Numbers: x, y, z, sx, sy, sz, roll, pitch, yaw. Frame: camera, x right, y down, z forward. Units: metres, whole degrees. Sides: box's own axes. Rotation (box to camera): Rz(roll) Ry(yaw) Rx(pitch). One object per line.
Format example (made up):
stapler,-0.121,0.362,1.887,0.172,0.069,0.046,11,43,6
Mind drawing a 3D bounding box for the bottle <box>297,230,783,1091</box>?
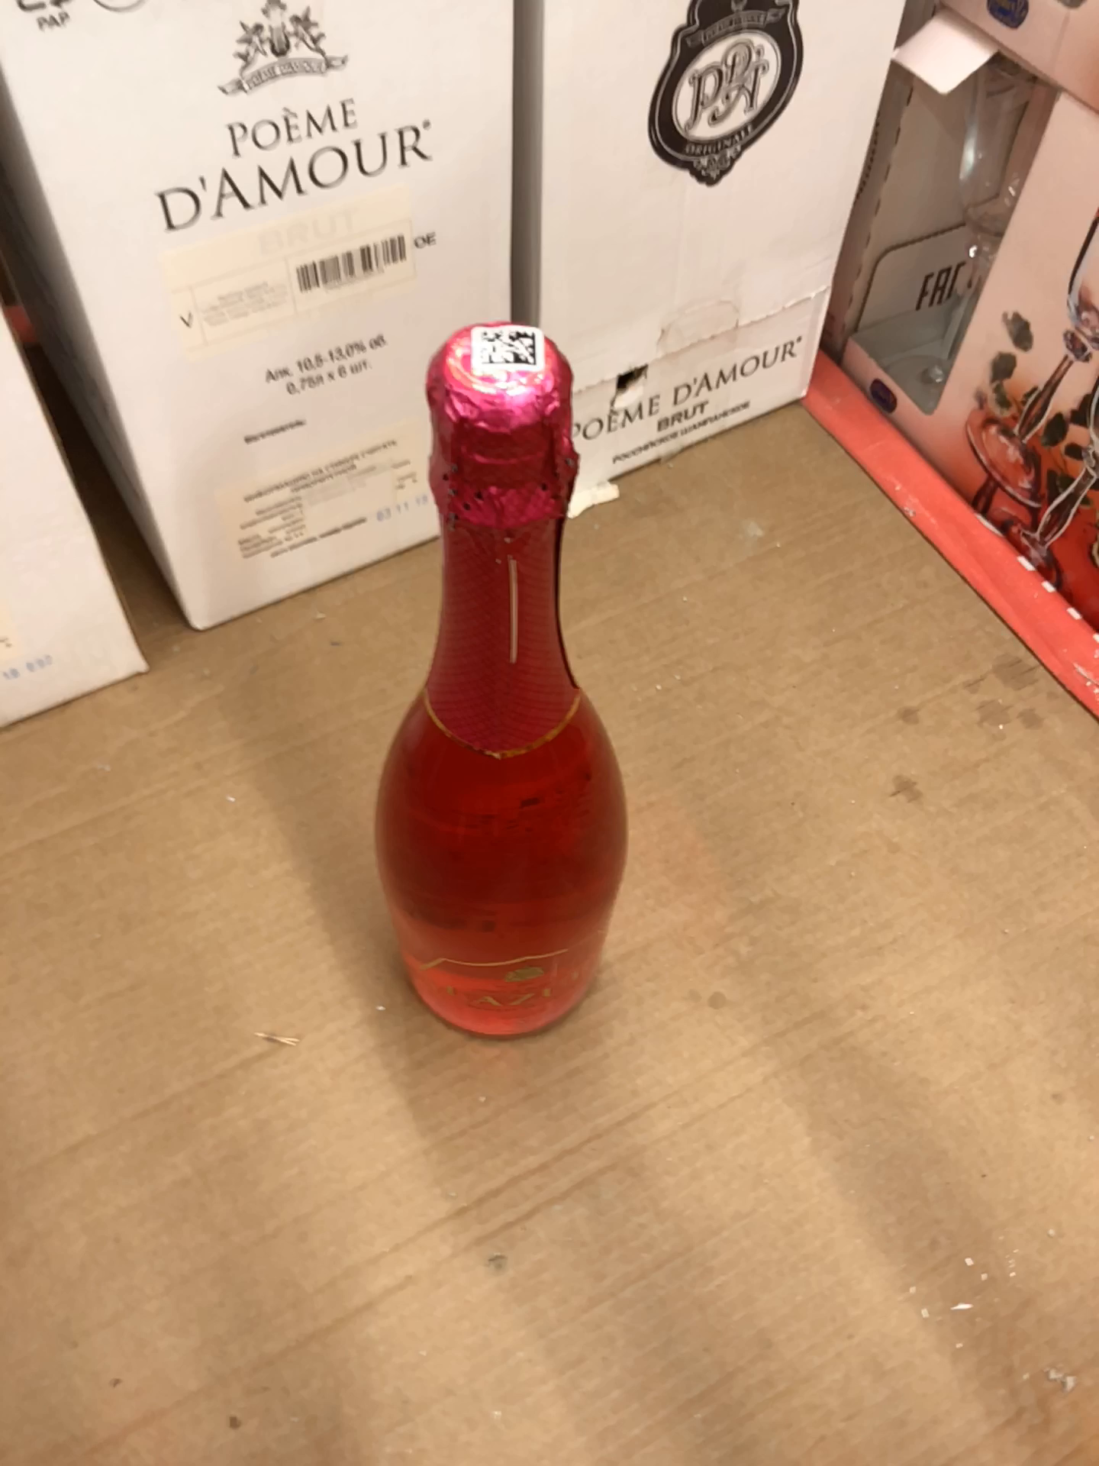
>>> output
bottle,-0.012,0.012,0.394,0.090,0.320,0.090,1,55,-2
